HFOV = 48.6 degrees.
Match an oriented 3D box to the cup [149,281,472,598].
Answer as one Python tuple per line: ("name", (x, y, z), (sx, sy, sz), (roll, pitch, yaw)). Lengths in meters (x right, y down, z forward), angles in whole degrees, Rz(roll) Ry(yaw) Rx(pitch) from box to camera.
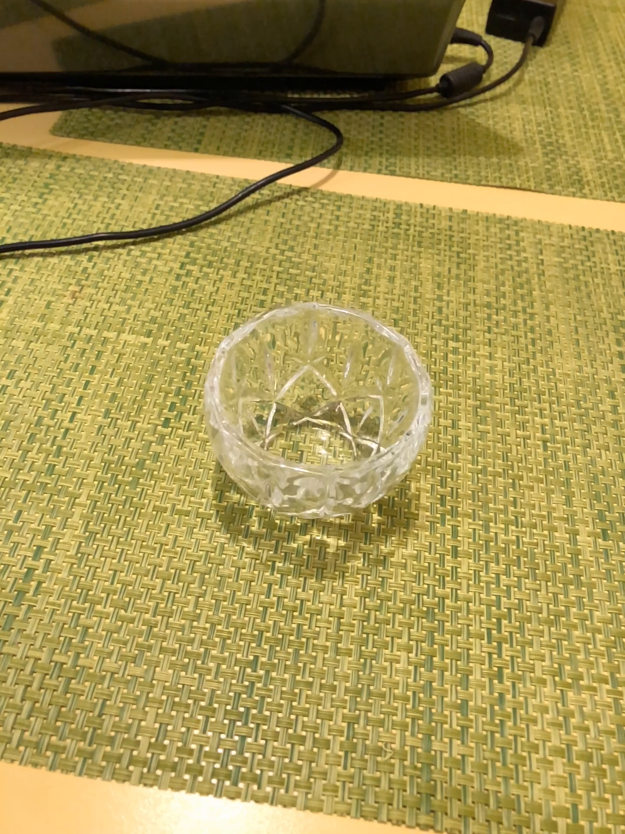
("cup", (0.001, 0.005, 0.234), (0.080, 0.045, 0.072), (21, 55, 10))
